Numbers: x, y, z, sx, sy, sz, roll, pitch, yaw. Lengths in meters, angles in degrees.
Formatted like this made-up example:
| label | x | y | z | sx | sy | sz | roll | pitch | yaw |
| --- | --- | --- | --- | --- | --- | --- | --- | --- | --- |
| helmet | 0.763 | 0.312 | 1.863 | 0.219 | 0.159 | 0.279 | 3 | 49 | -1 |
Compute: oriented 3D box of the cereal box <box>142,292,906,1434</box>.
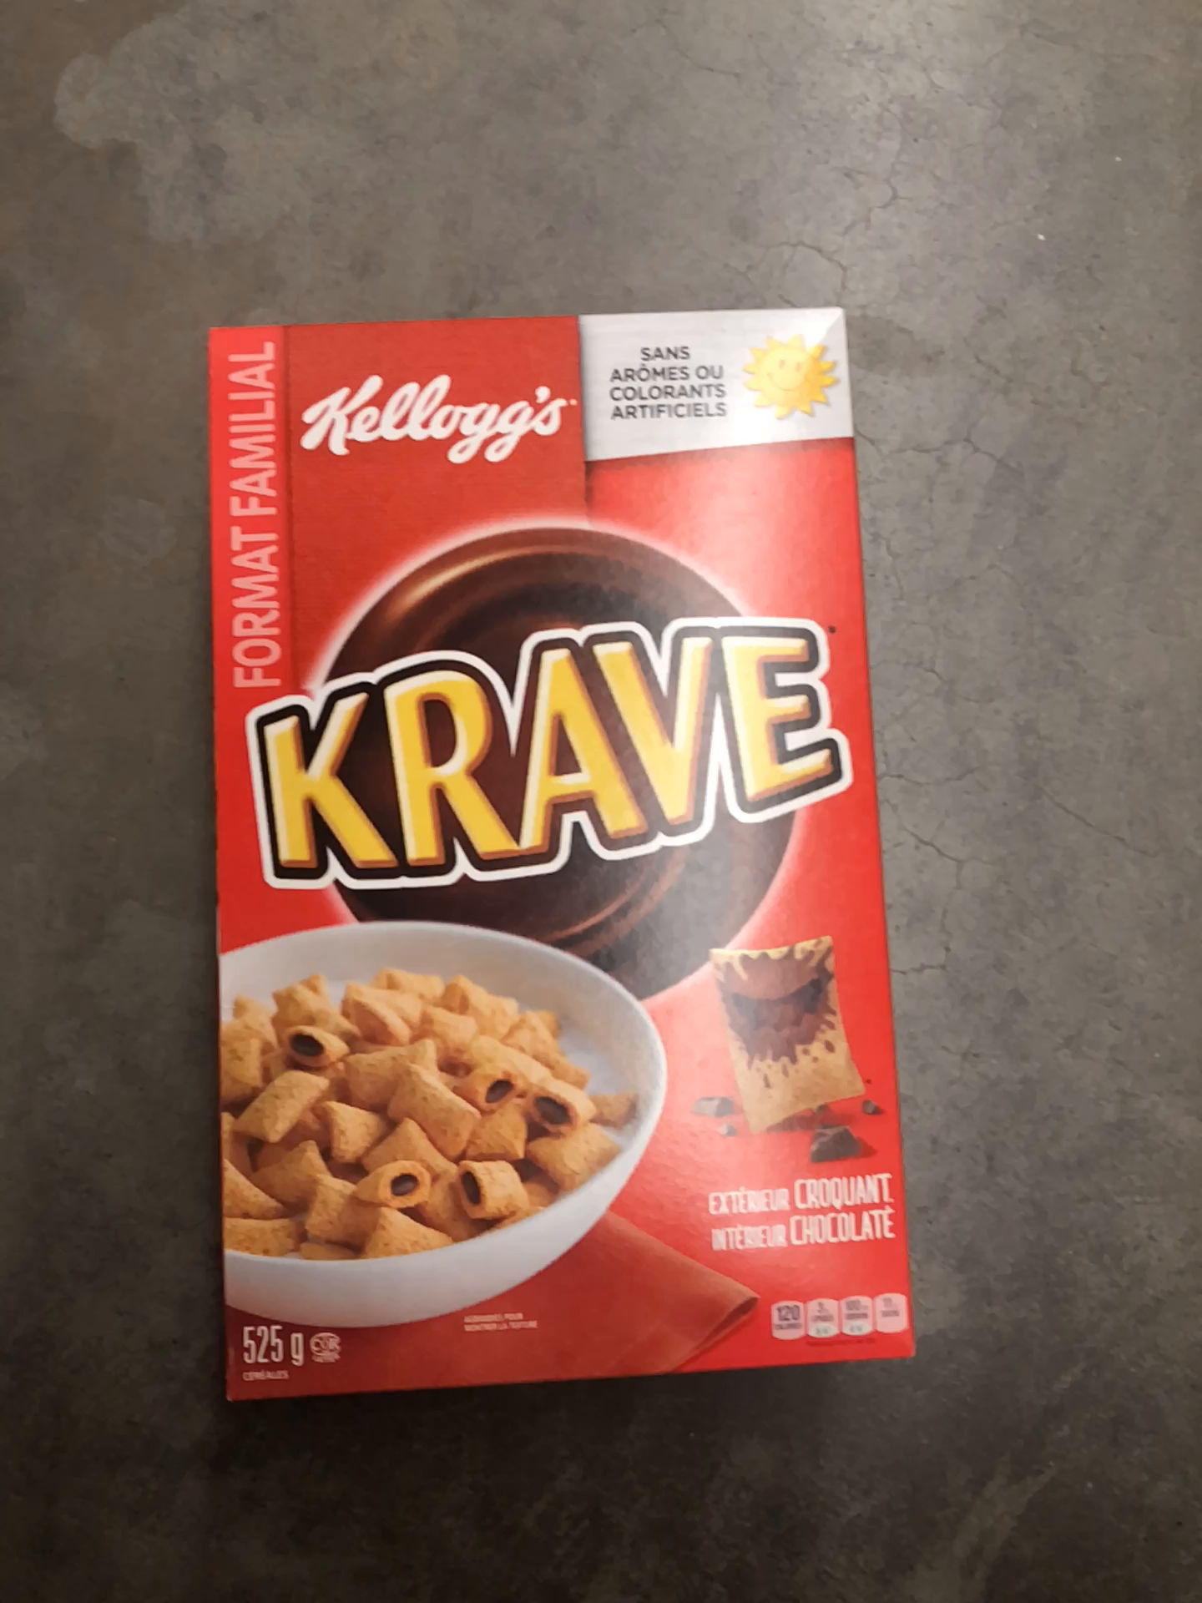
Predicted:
| label | x | y | z | sx | sy | sz | roll | pitch | yaw |
| --- | --- | --- | --- | --- | --- | --- | --- | --- | --- |
| cereal box | -0.025 | 0.013 | 0.405 | 0.200 | 0.070 | 0.310 | -3 | 85 | -2 |
